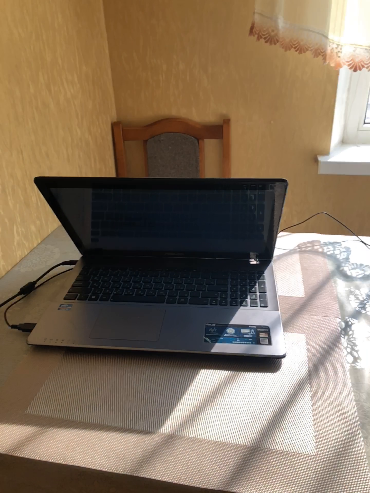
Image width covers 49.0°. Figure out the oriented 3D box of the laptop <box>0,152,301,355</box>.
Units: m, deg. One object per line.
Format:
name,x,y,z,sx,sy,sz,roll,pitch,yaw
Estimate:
laptop,-0.037,-0.009,0.612,0.362,0.200,0.246,1,28,7
